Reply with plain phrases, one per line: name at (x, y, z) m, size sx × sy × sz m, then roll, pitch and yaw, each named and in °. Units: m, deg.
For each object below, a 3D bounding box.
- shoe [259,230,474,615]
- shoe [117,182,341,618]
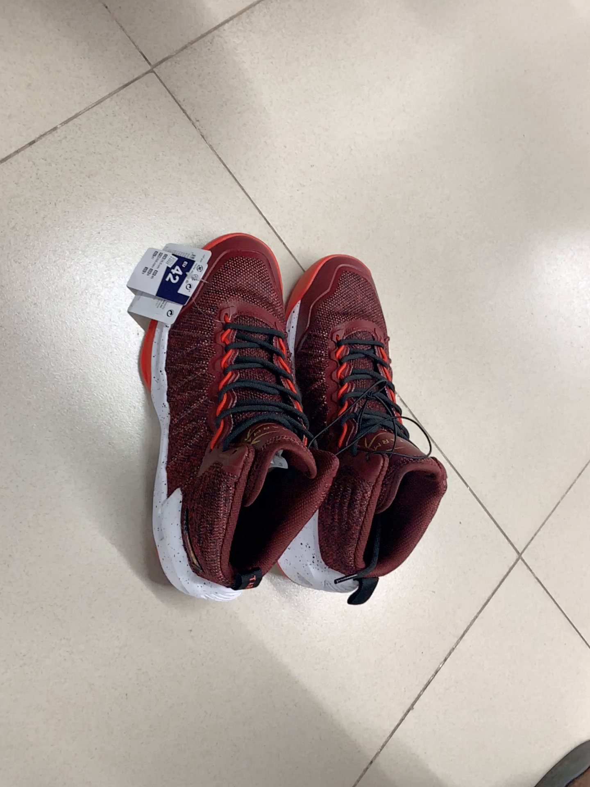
shoe at (0.056, 0.025, 0.497) m, size 0.120 × 0.110 × 0.270 m, roll 6°, pitch 85°, yaw -22°
shoe at (-0.053, 0.009, 0.460) m, size 0.120 × 0.110 × 0.280 m, roll 6°, pitch 85°, yaw -22°
